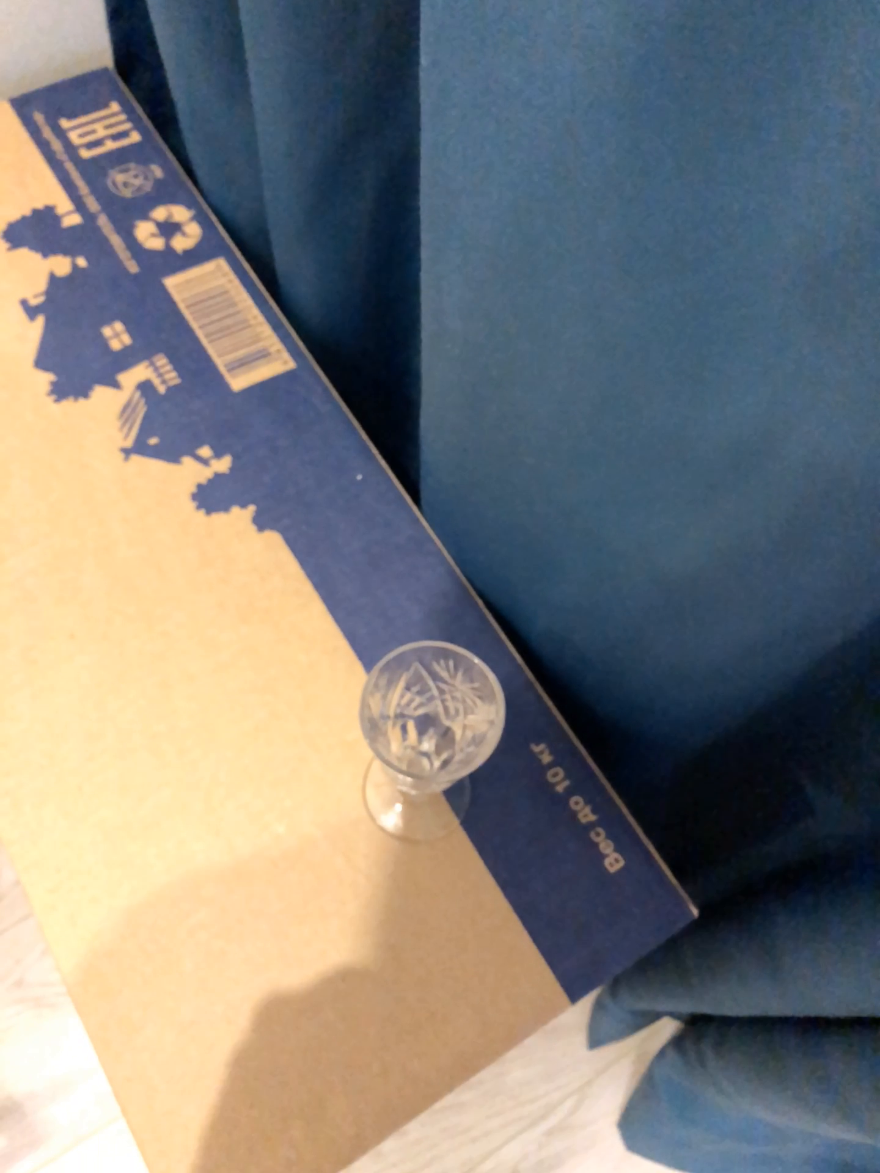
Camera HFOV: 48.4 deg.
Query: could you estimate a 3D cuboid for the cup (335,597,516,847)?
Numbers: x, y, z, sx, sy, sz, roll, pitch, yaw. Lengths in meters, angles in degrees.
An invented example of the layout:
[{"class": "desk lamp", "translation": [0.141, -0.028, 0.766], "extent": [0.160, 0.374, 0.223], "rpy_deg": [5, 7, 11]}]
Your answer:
[{"class": "cup", "translation": [-0.006, 0.055, 0.358], "extent": [0.050, 0.119, 0.054], "rpy_deg": [0, 66, -1]}]
